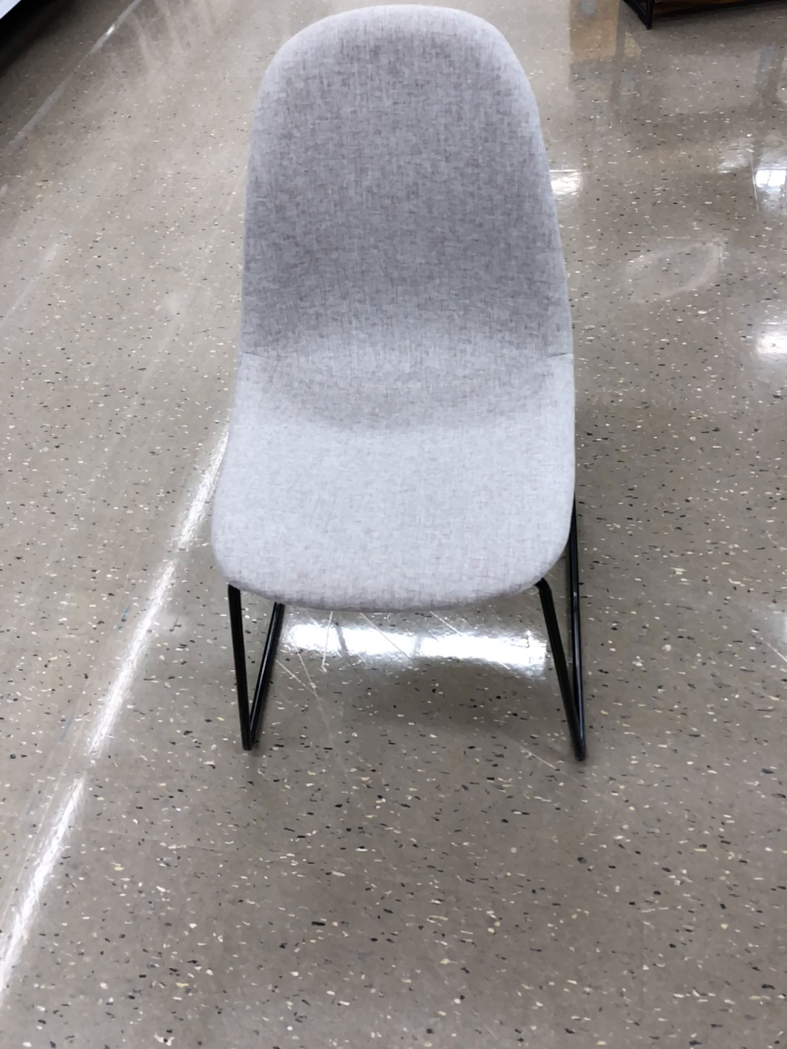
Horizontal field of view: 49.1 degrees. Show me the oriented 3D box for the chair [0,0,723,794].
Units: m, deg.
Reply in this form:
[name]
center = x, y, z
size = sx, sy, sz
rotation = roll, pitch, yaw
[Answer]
[chair]
center = -0.014, -0.110, 1.072
size = 0.590, 0.778, 0.582
rotation = -1, 51, 8
